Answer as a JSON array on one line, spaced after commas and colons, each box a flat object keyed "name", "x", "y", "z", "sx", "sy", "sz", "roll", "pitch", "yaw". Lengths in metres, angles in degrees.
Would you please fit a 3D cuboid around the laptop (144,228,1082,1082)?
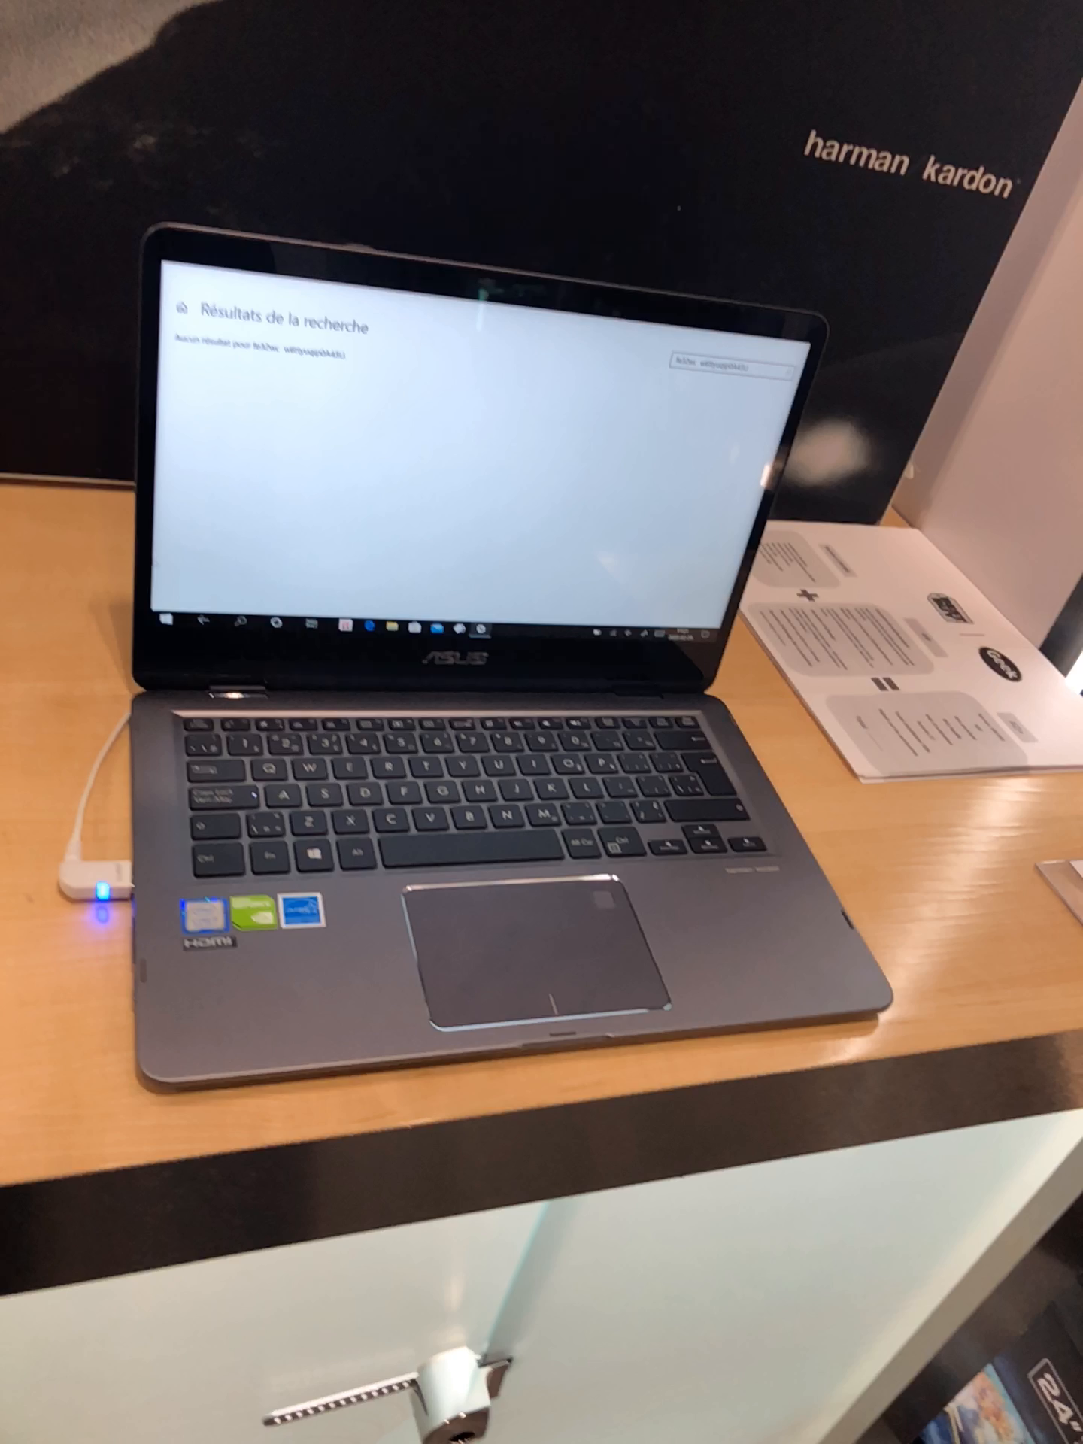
[{"name": "laptop", "x": 0.005, "y": -0.032, "z": 0.510, "sx": 0.320, "sy": 0.224, "sz": 0.240, "roll": 0, "pitch": 40, "yaw": -21}]
